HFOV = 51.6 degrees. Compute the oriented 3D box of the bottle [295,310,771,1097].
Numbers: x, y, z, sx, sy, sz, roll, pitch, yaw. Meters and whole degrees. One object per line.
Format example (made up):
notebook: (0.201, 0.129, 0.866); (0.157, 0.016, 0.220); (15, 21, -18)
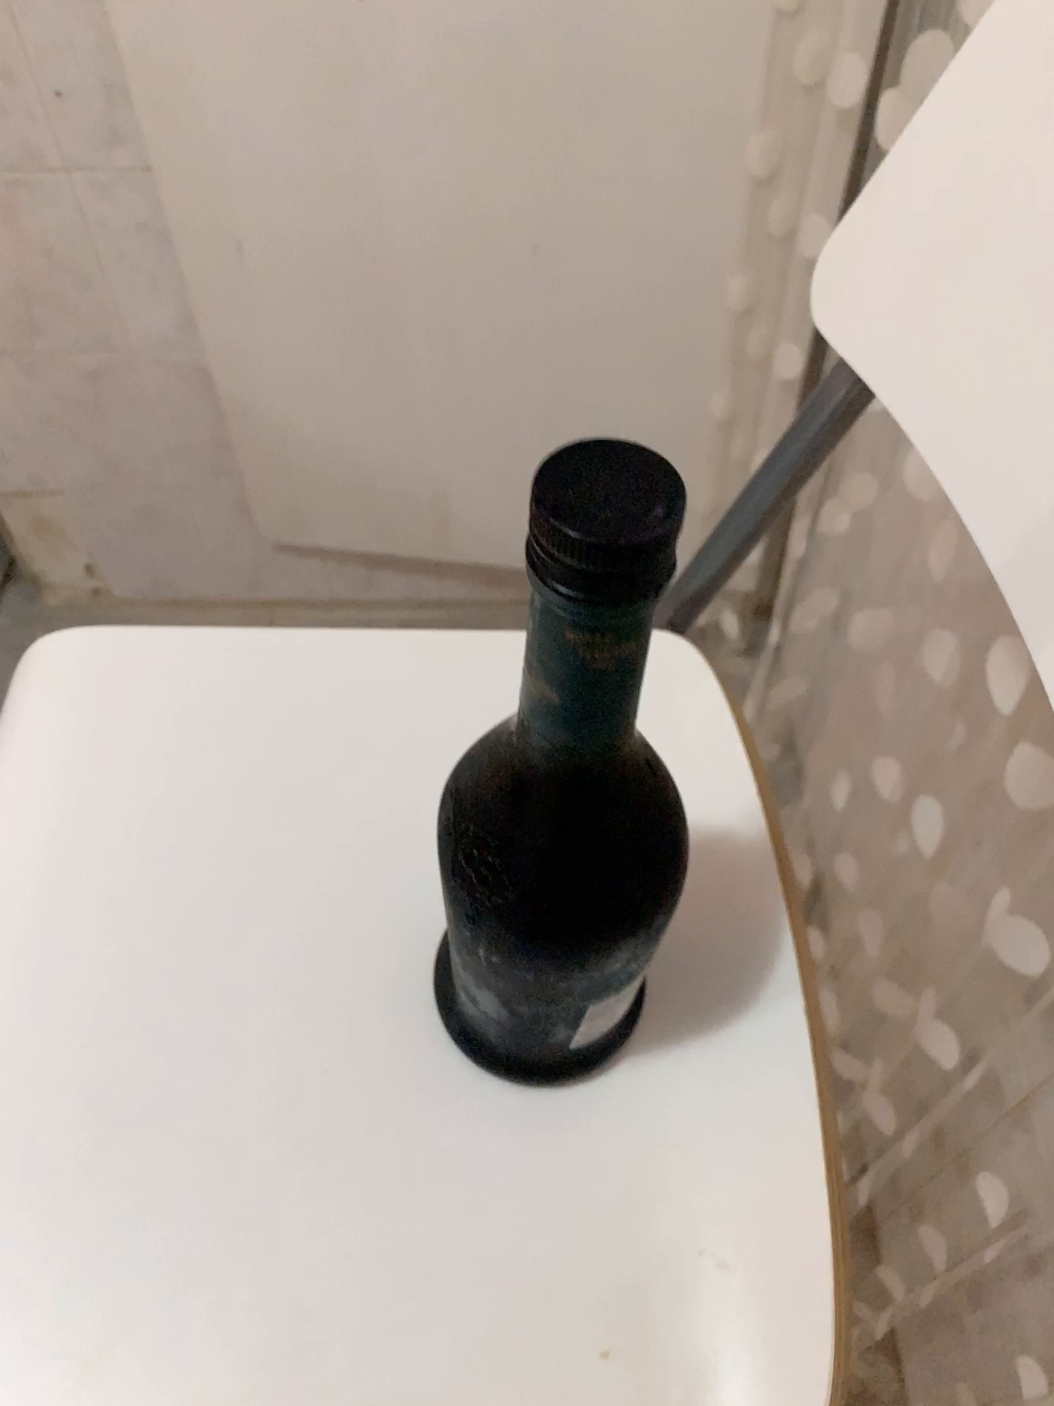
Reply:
bottle: (0.006, 0.025, 0.307); (0.080, 0.243, 0.090); (3, 53, 3)
